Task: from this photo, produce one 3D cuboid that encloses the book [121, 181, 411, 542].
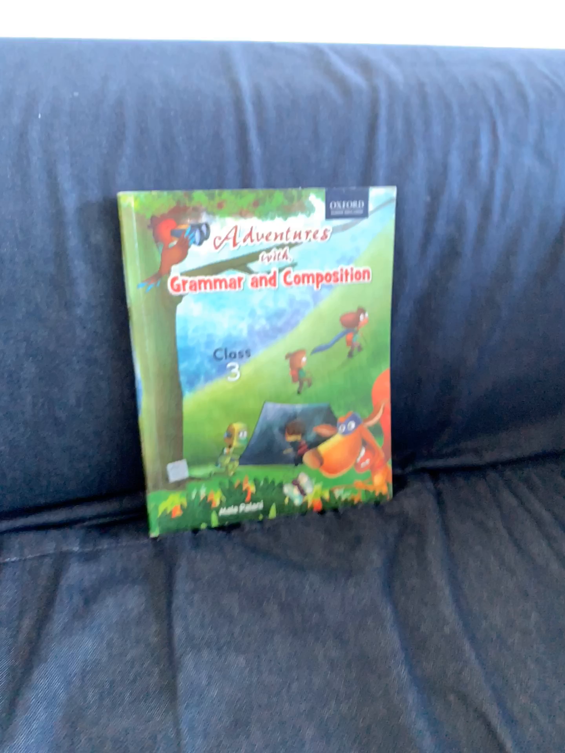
[{"bbox_3d":[-0.006,-0.012,0.466,0.212,0.269,0.030,-5,15,-12],"label":"book"}]
